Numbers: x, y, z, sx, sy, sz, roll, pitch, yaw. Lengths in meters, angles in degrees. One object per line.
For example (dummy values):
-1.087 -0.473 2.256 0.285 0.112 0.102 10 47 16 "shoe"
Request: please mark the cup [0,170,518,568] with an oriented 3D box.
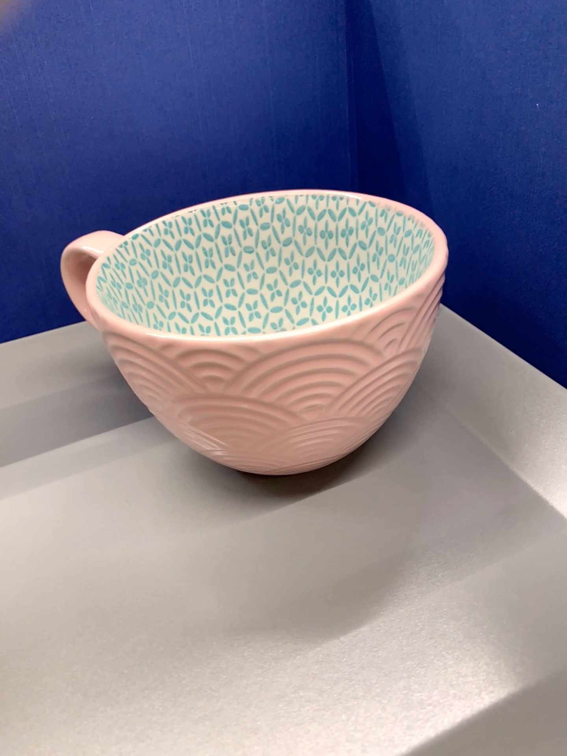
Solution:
-0.009 -0.020 0.219 0.151 0.064 0.105 16 47 30 "cup"
